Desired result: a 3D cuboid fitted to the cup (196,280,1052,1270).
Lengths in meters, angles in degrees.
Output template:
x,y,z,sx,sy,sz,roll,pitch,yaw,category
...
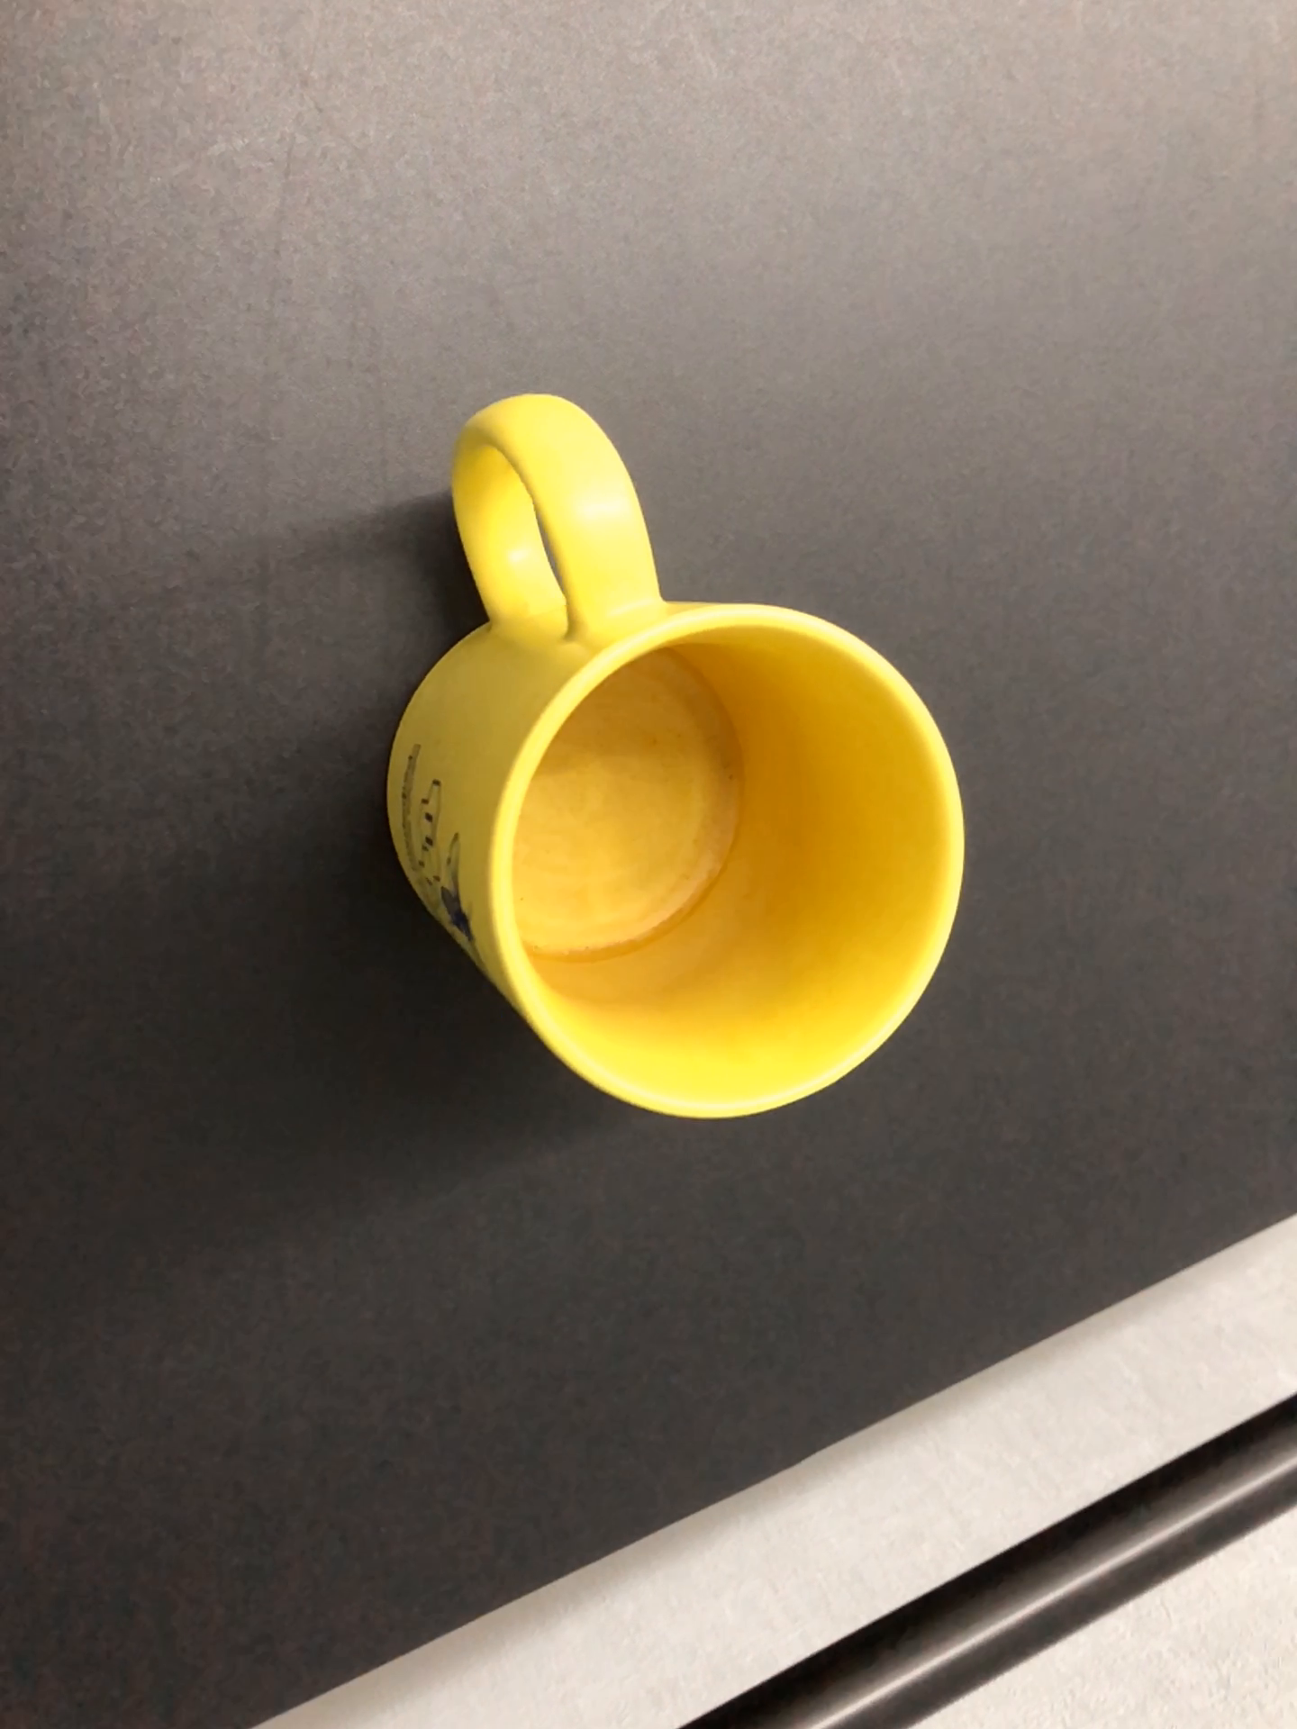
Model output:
x,y,z,sx,sy,sz,roll,pitch,yaw,category
-0.009,-0.020,0.266,0.090,0.101,0.125,-28,109,-13,cup
